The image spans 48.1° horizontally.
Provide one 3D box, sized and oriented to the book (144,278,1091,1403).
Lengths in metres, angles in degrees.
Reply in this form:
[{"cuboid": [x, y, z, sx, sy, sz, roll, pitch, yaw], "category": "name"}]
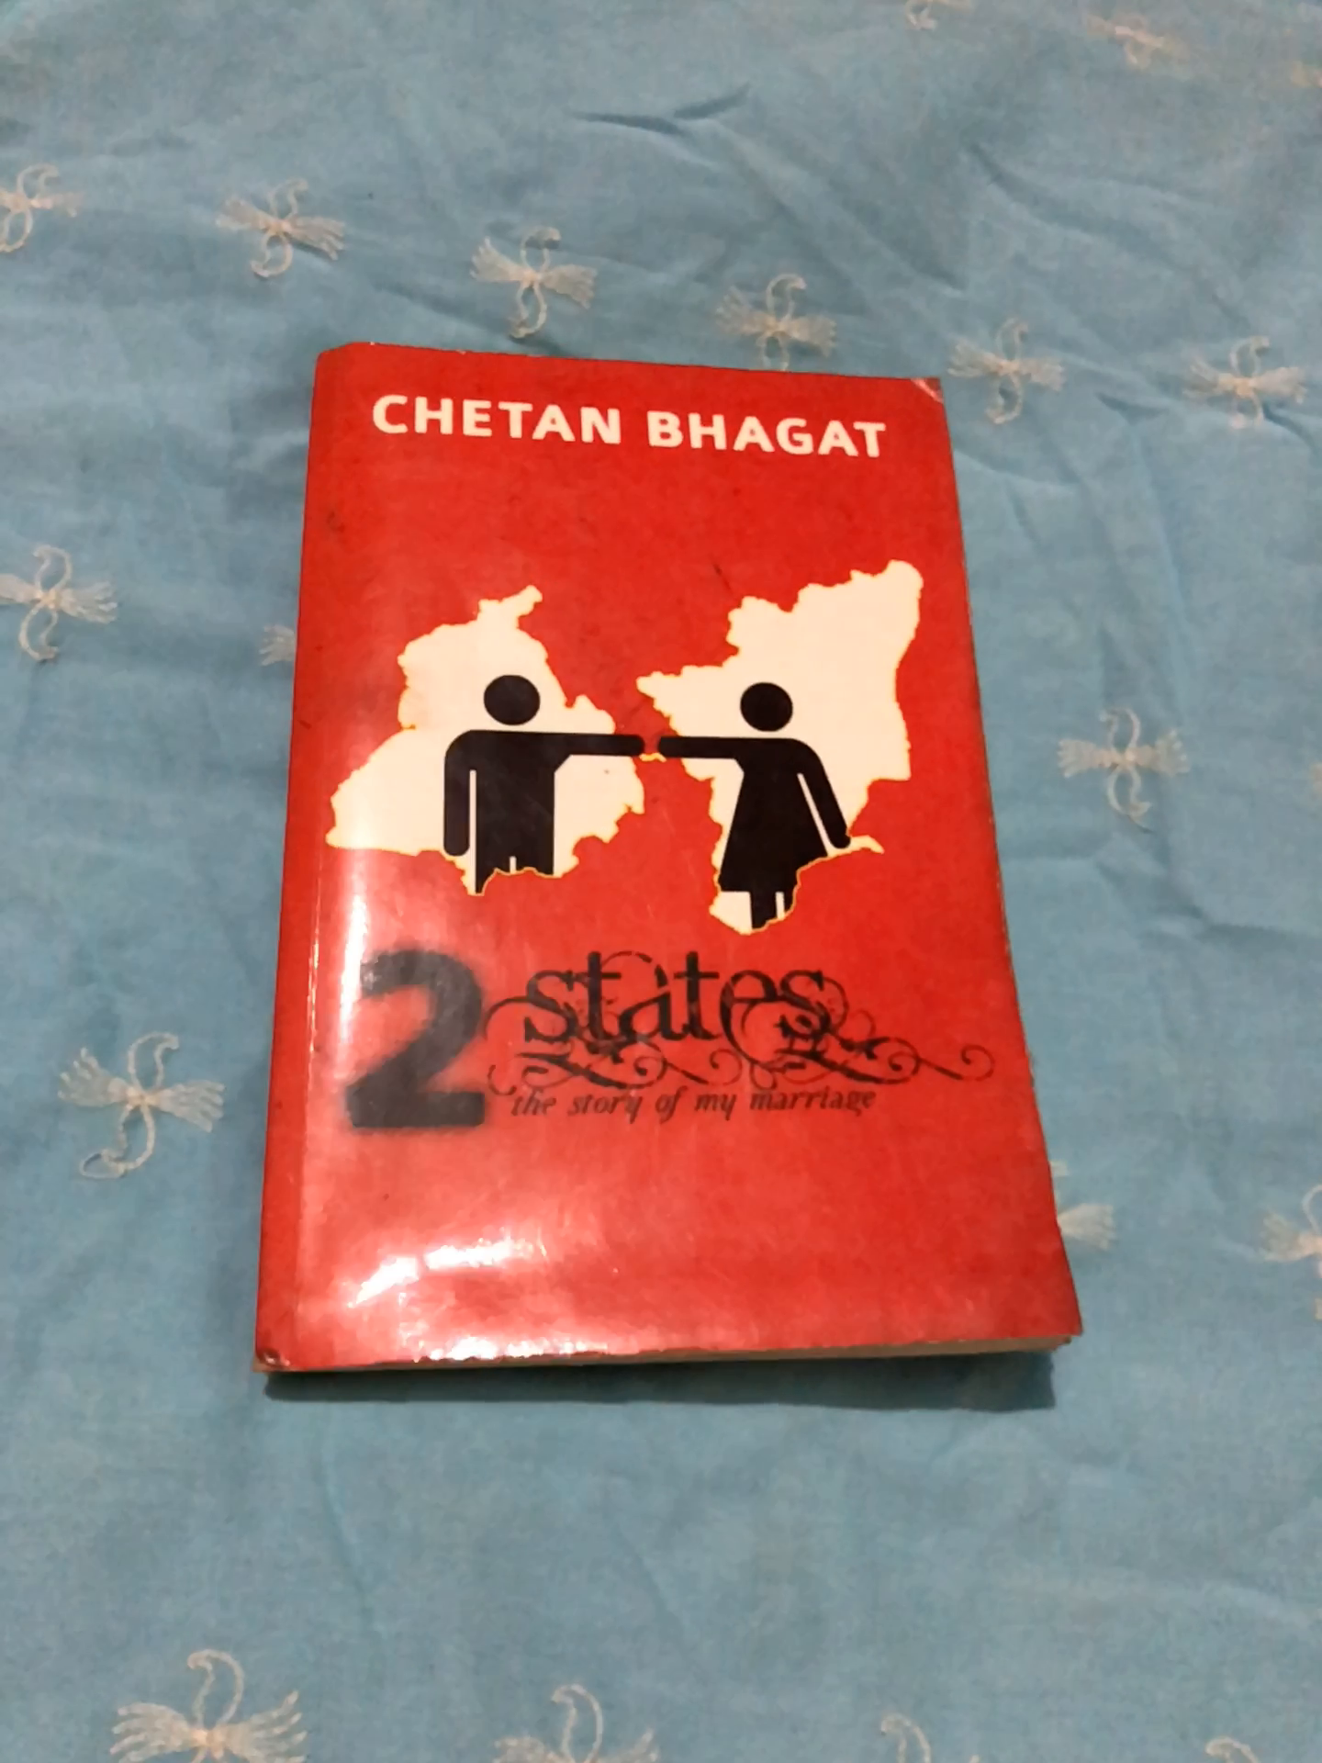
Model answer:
[{"cuboid": [-0.010, -0.015, 0.269, 0.140, 0.030, 0.200, 1, 67, -10], "category": "book"}]
